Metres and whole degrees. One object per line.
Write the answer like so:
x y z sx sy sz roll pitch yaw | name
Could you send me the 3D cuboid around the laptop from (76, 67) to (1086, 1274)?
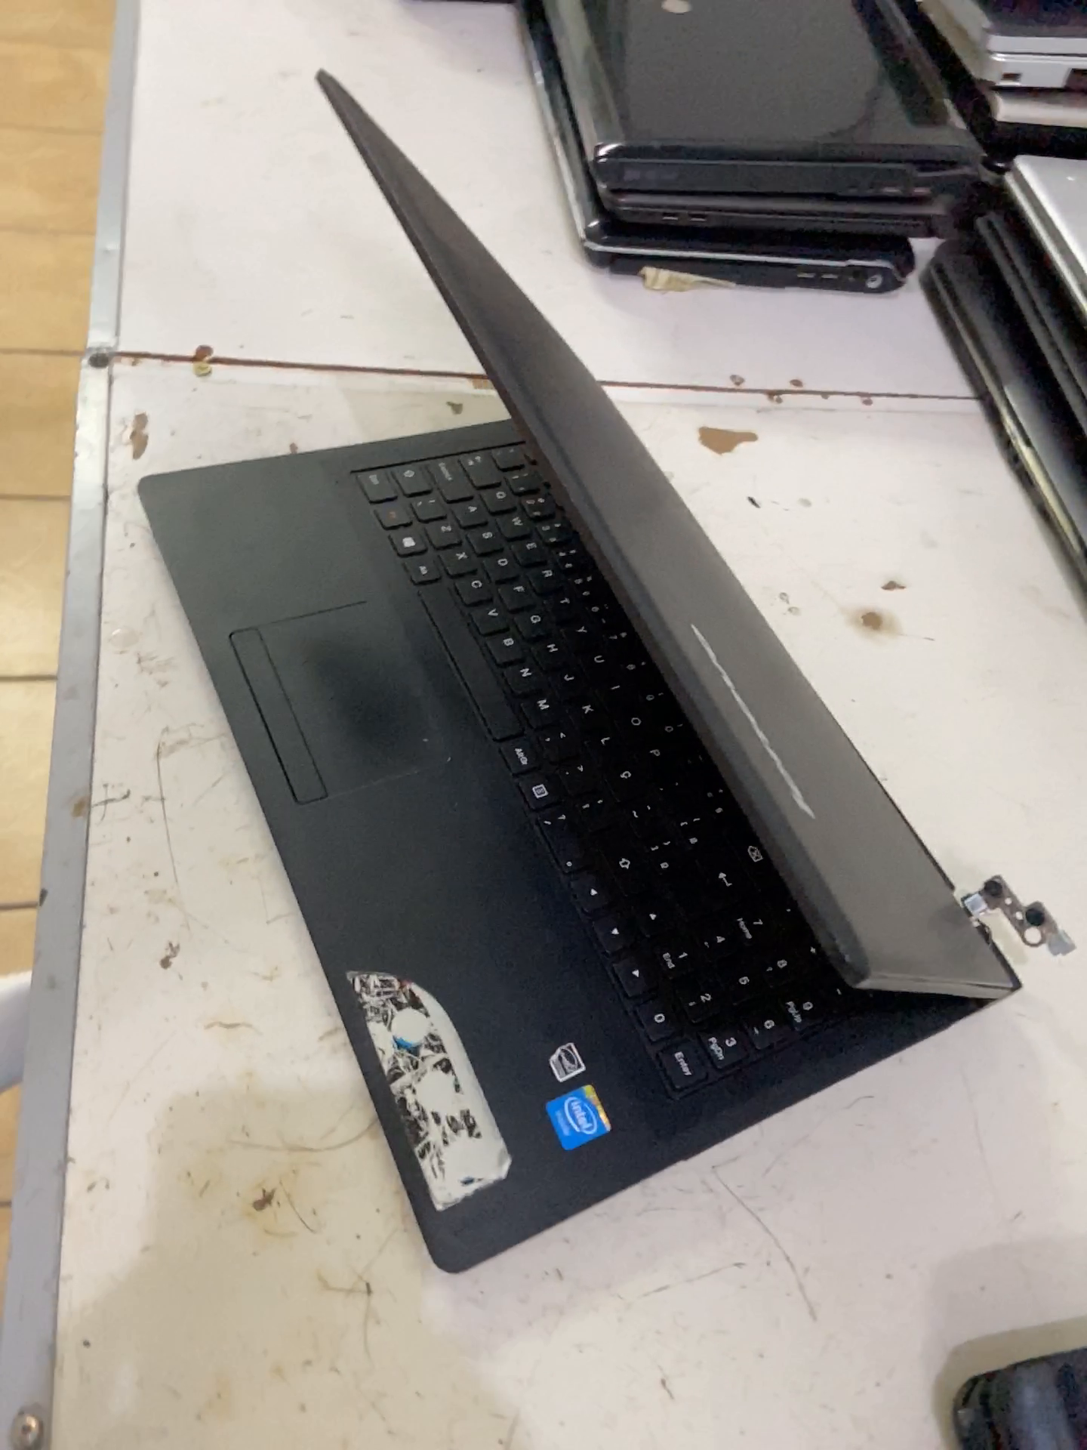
0.017 -0.052 0.427 0.258 0.189 0.376 -16 61 -23 | laptop
